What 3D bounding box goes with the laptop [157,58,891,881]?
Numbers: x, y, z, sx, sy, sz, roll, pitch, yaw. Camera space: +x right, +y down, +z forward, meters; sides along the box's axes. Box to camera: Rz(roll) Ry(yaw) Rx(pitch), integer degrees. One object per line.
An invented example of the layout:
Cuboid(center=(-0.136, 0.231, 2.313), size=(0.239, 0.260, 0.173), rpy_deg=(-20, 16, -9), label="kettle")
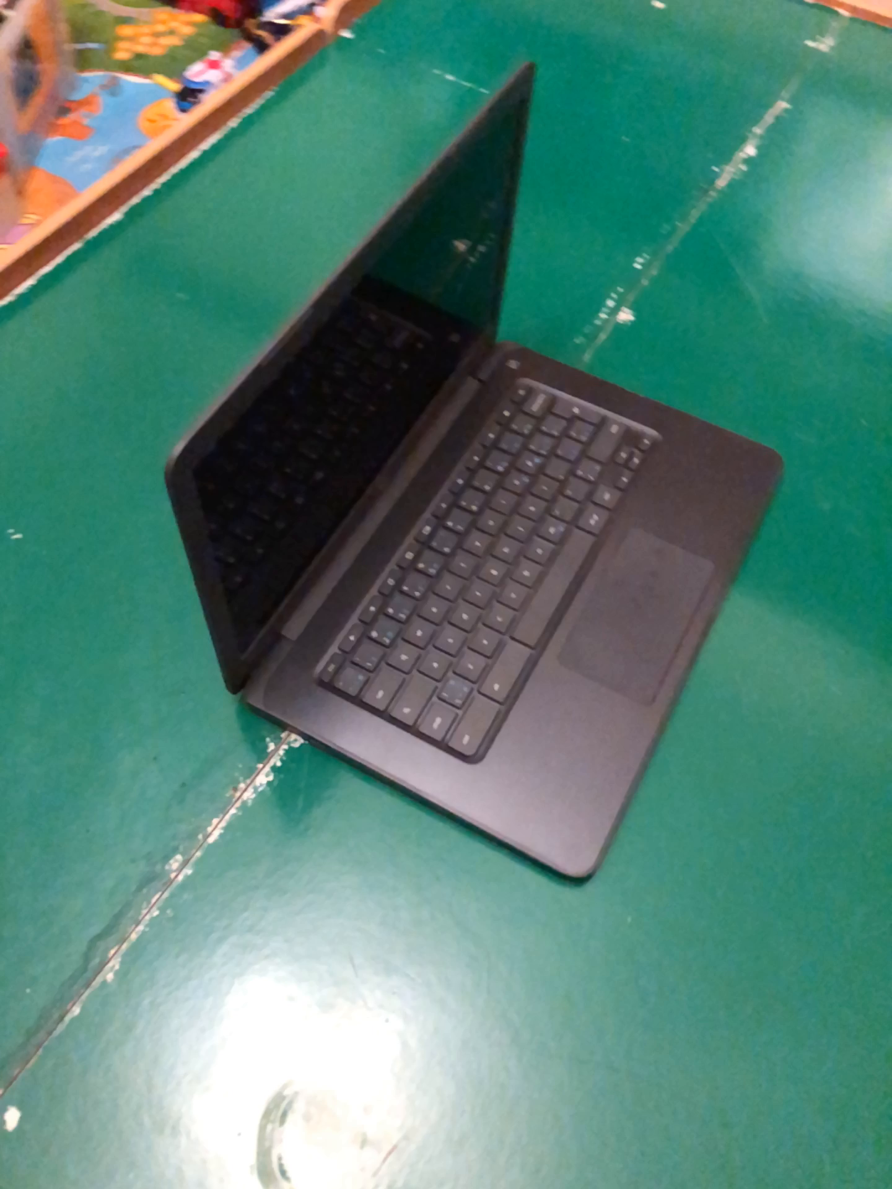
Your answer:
Cuboid(center=(0.053, -0.070, 0.514), size=(0.211, 0.204, 0.318), rpy_deg=(26, 62, 13), label="laptop")
